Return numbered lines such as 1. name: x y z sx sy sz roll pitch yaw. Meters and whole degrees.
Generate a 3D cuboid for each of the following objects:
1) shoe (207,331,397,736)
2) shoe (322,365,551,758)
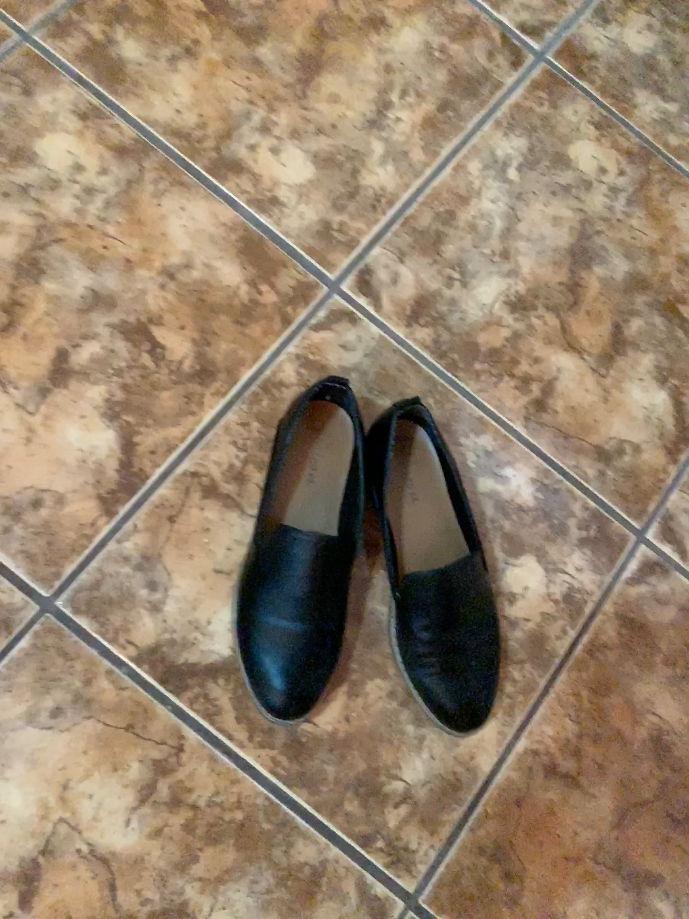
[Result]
1. shoe: -0.029 0.049 0.492 0.086 0.070 0.256 11 74 -8
2. shoe: 0.060 0.069 0.514 0.088 0.070 0.255 -11 78 -14
